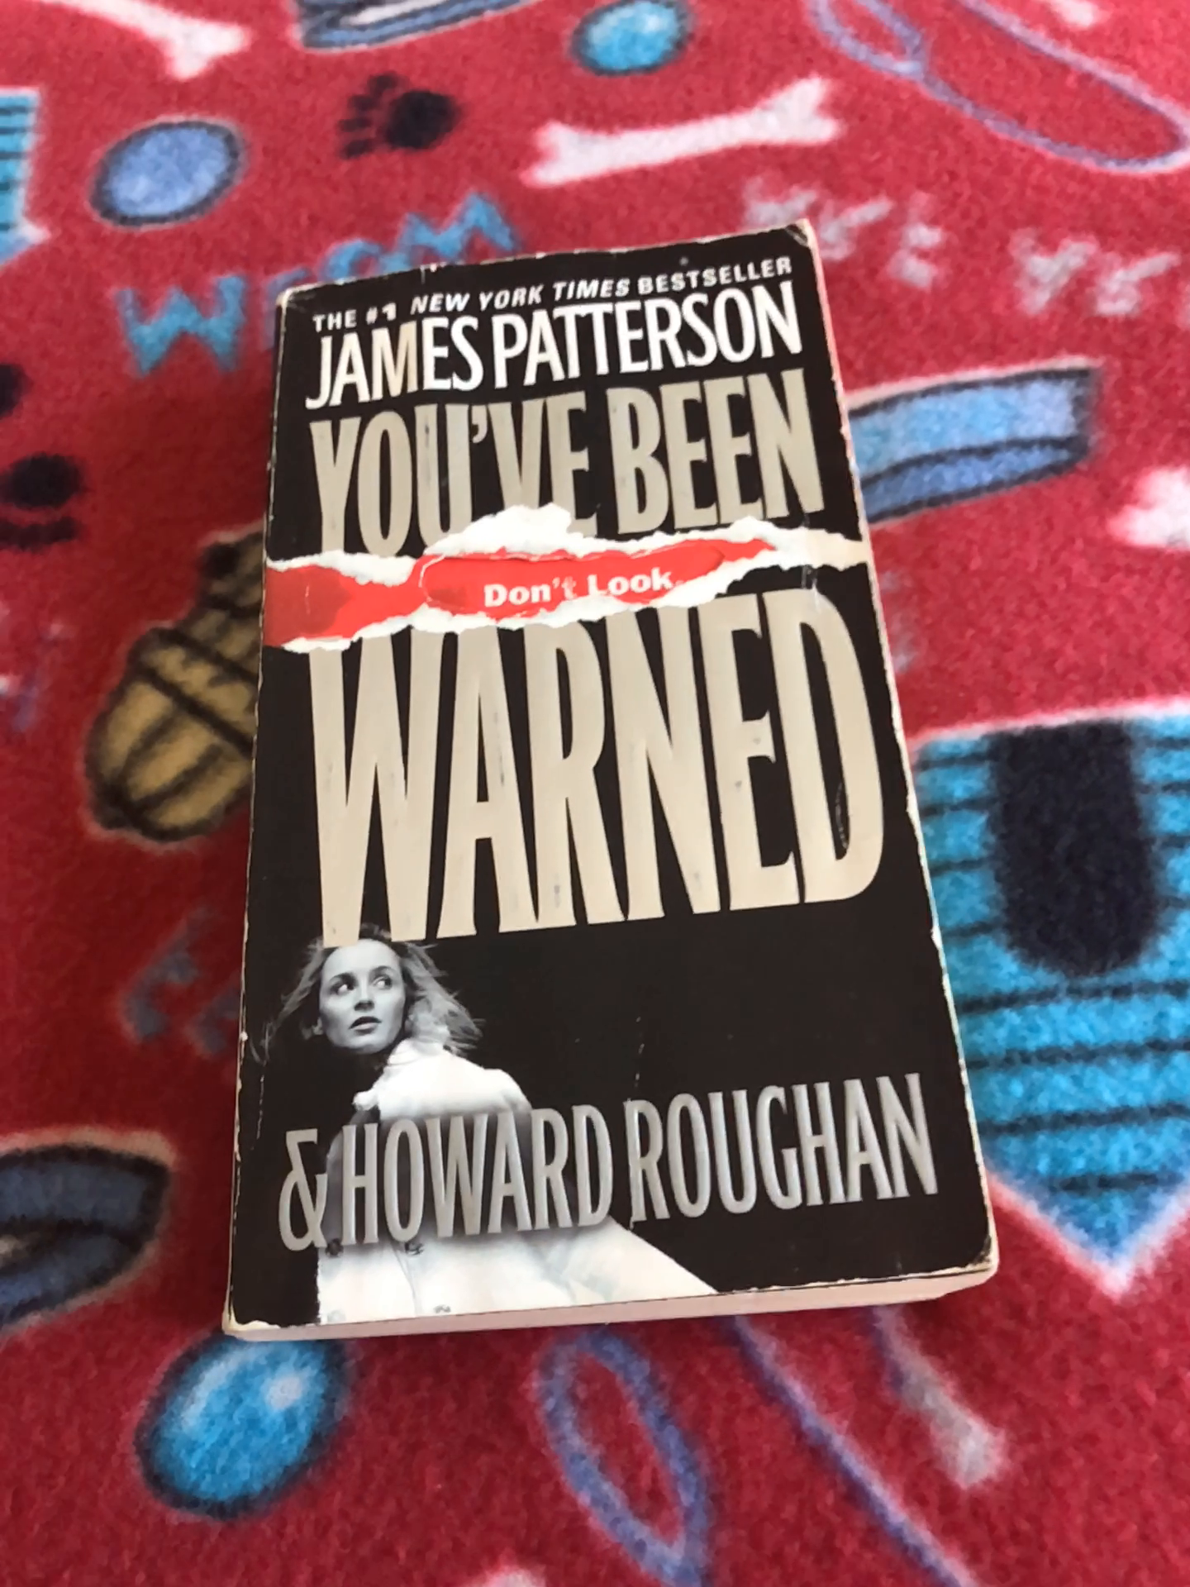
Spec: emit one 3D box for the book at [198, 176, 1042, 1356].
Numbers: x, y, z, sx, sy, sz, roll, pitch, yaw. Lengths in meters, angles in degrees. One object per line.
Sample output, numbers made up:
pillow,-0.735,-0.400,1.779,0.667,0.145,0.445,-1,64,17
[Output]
book,-0.002,-0.012,0.226,0.110,0.040,0.190,-5,69,2
